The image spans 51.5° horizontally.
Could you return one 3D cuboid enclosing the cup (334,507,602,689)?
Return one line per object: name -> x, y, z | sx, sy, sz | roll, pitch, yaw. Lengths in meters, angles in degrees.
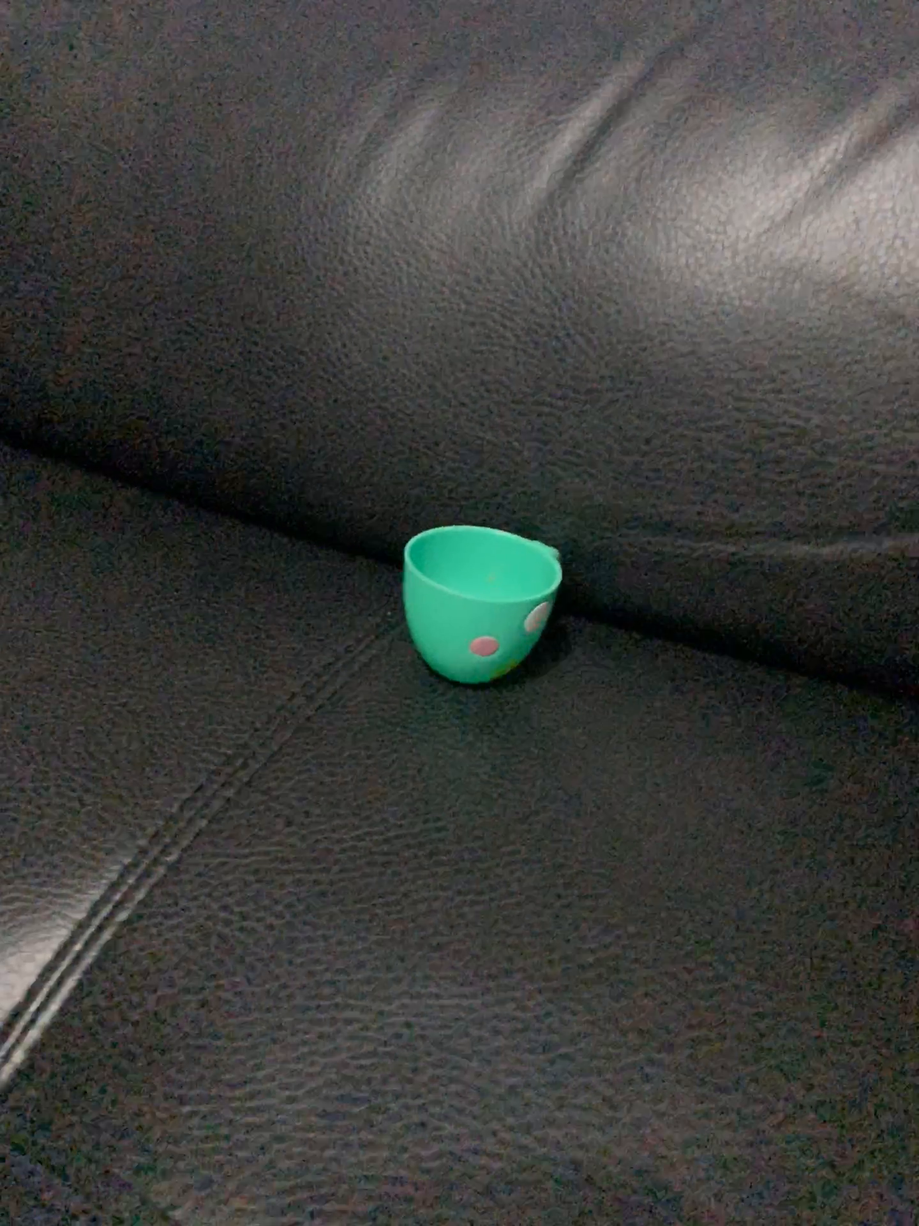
cup -> 0.003, -0.008, 0.308 | 0.063, 0.030, 0.054 | -11, 34, -42
